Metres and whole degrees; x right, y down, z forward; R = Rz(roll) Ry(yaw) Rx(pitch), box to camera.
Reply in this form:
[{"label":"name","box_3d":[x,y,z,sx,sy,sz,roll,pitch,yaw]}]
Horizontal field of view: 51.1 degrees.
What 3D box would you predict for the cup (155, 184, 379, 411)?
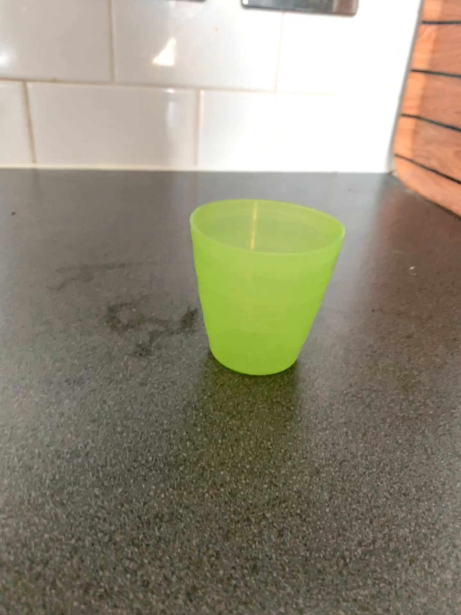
[{"label":"cup","box_3d":[0.018,-0.013,0.272,0.078,0.080,0.090,29,37,34]}]
